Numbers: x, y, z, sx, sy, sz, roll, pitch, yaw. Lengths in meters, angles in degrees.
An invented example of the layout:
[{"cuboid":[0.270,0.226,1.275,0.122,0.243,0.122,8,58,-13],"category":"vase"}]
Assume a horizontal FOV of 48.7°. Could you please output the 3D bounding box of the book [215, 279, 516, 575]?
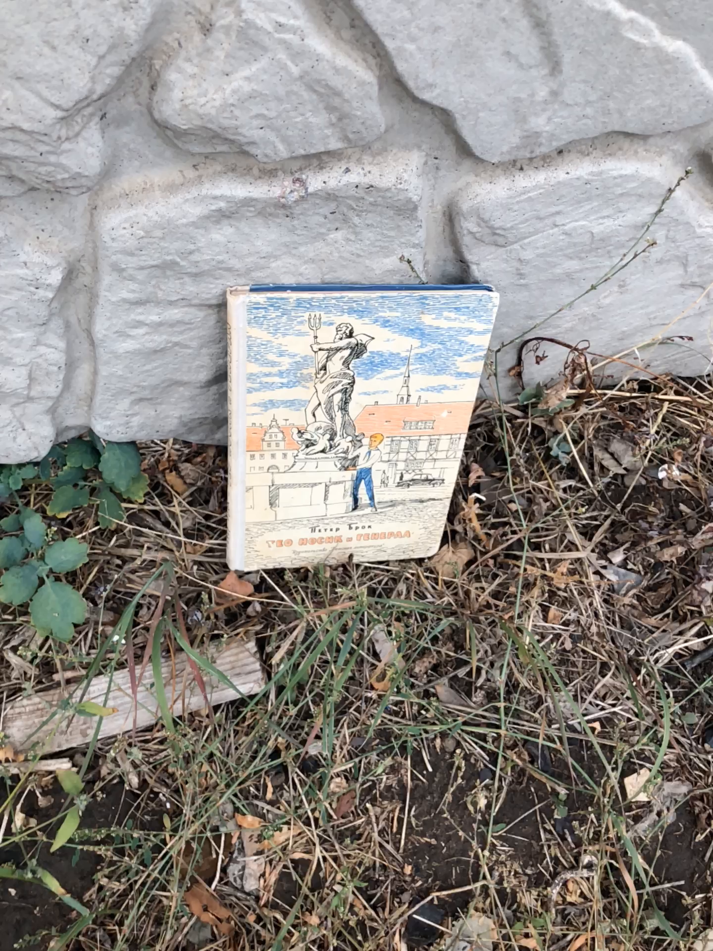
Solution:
[{"cuboid":[0.001,-0.019,0.464,0.151,0.200,0.020,-2,41,-6],"category":"book"}]
